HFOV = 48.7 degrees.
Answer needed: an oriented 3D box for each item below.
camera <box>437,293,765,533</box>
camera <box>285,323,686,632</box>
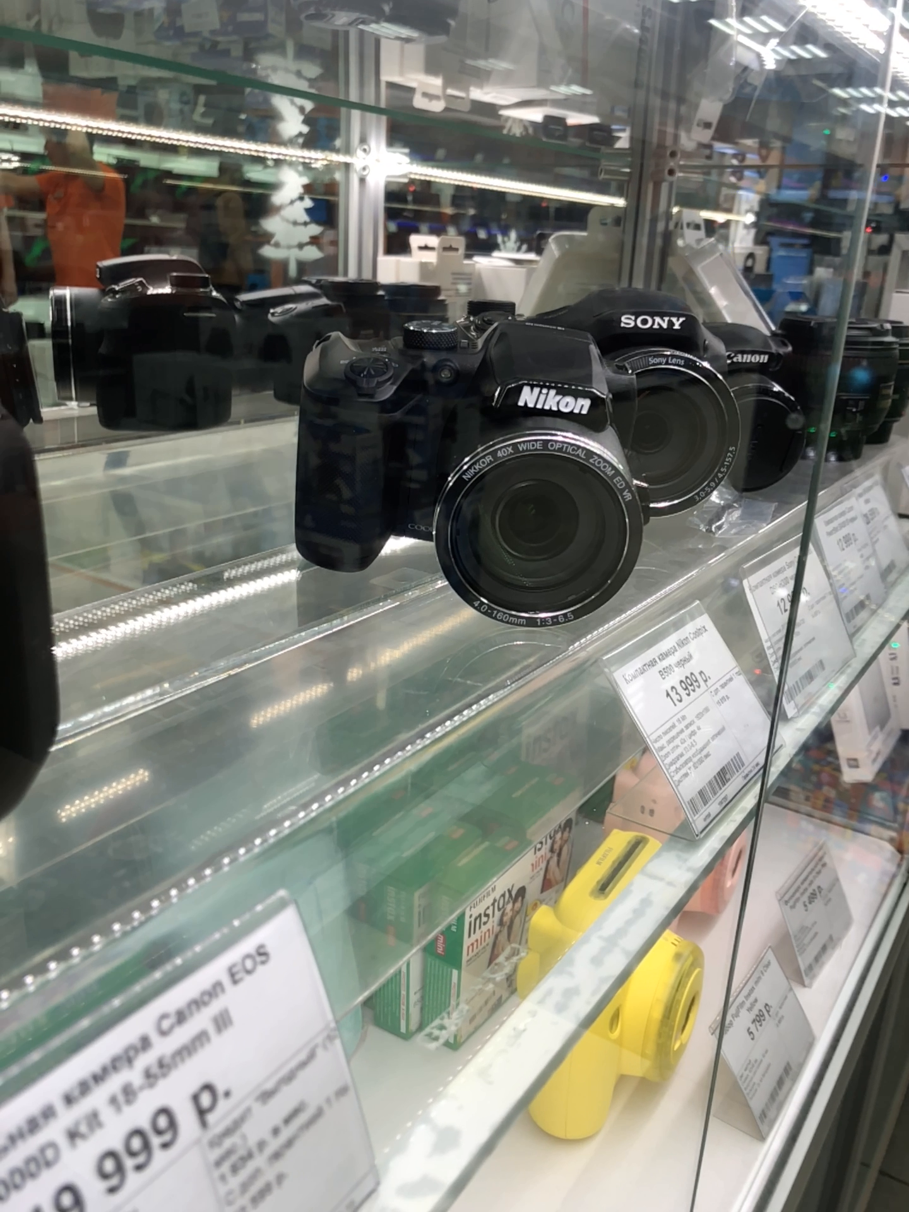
[{"bbox_3d":[0.054,-0.086,0.434,0.114,0.084,0.099,0,21,-6],"label":"camera"},{"bbox_3d":[0.002,-0.047,0.332,0.110,0.080,0.098,1,18,-7],"label":"camera"}]
